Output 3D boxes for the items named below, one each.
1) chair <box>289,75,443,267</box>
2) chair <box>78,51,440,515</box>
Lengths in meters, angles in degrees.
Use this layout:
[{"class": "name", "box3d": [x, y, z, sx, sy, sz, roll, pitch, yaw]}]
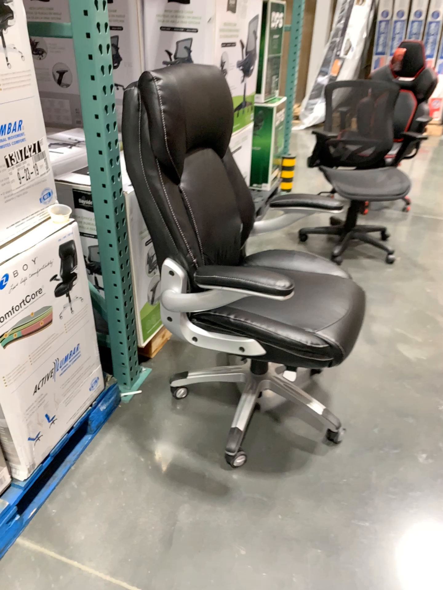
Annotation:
[{"class": "chair", "box3d": [0.827, -0.762, 2.727, 0.638, 0.919, 0.788, 1, 31, -2]}, {"class": "chair", "box3d": [0.147, -0.099, 1.436, 0.705, 1.128, 0.731, 14, 33, 20]}]
